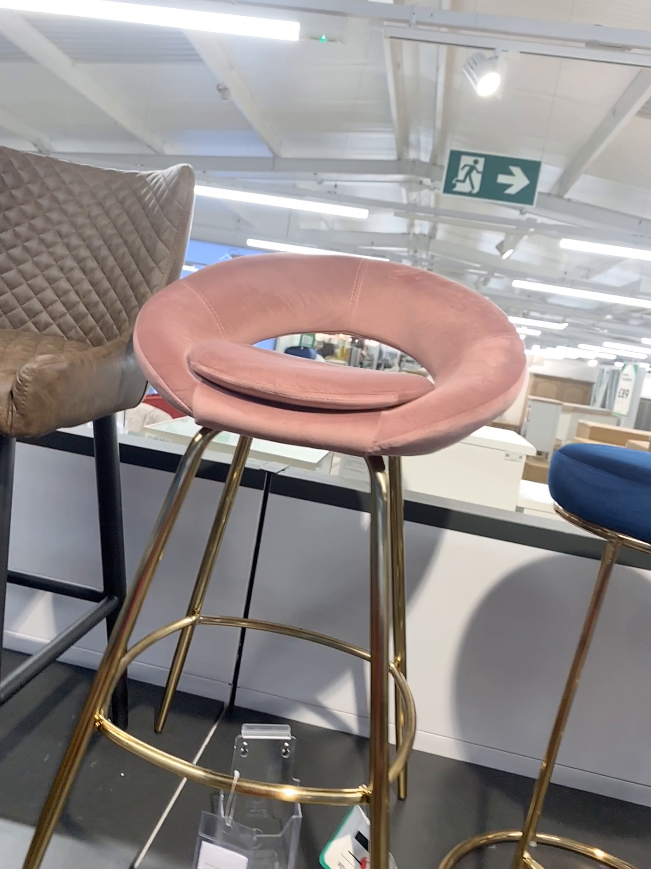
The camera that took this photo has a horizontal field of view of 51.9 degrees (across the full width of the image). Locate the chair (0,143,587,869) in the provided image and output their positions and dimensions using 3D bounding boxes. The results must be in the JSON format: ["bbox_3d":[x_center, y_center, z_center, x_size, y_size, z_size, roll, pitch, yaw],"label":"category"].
[{"bbox_3d":[-0.035,0.153,0.895,0.492,0.858,0.462,11,7,11],"label":"chair"}]

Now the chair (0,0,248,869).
[{"bbox_3d":[-0.477,0.025,0.936,0.502,0.958,0.452,10,7,5],"label":"chair"}]

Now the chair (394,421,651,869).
[{"bbox_3d":[0.391,0.349,0.810,0.462,0.619,0.432,11,7,11],"label":"chair"}]
